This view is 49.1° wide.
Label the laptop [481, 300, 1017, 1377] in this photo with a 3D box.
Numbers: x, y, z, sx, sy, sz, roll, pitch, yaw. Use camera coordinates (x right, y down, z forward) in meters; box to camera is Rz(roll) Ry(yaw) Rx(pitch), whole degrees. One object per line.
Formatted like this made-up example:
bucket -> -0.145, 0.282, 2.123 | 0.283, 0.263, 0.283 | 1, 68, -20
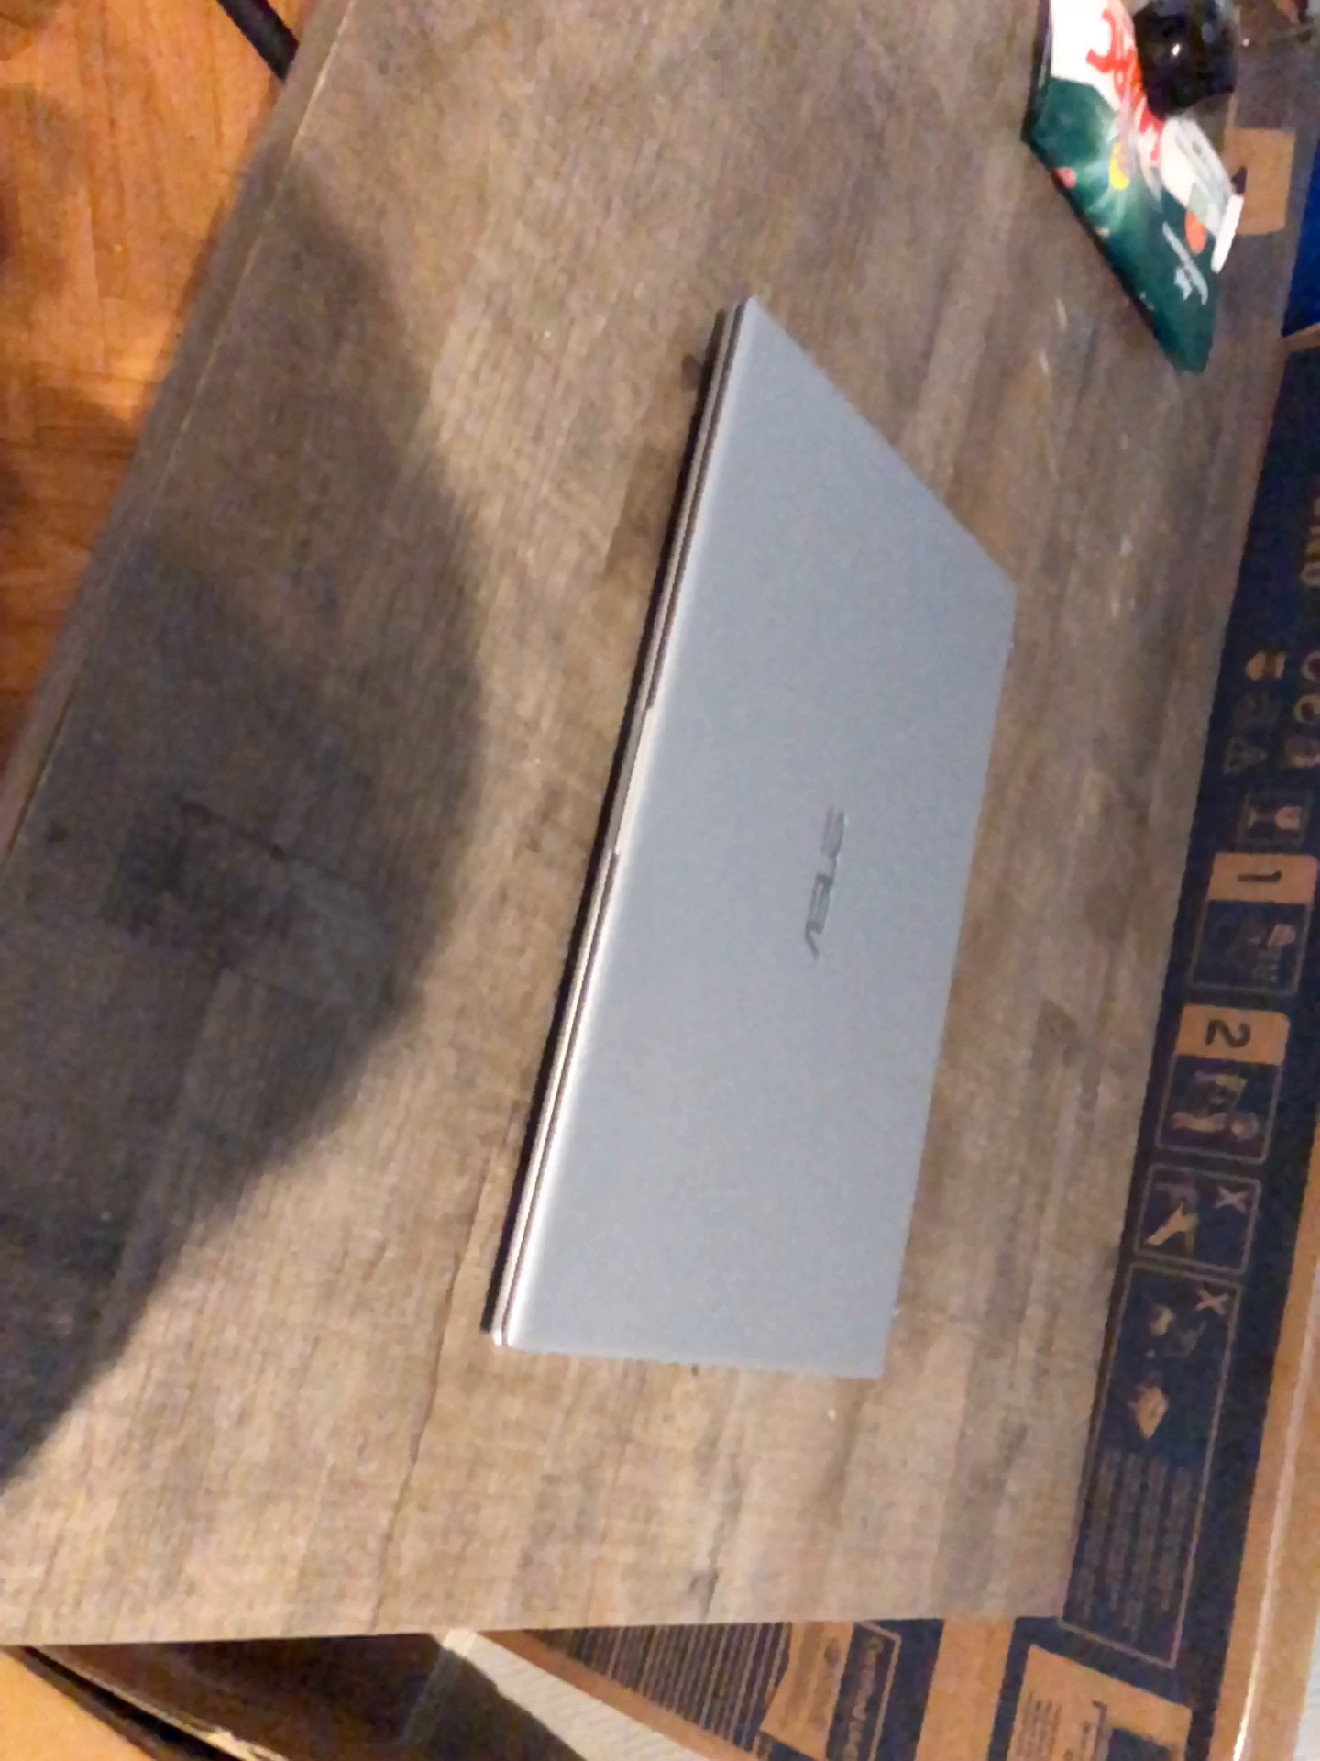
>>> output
laptop -> 0.056, 0.003, 0.552 | 0.229, 0.013, 0.353 | 26, 73, -49
